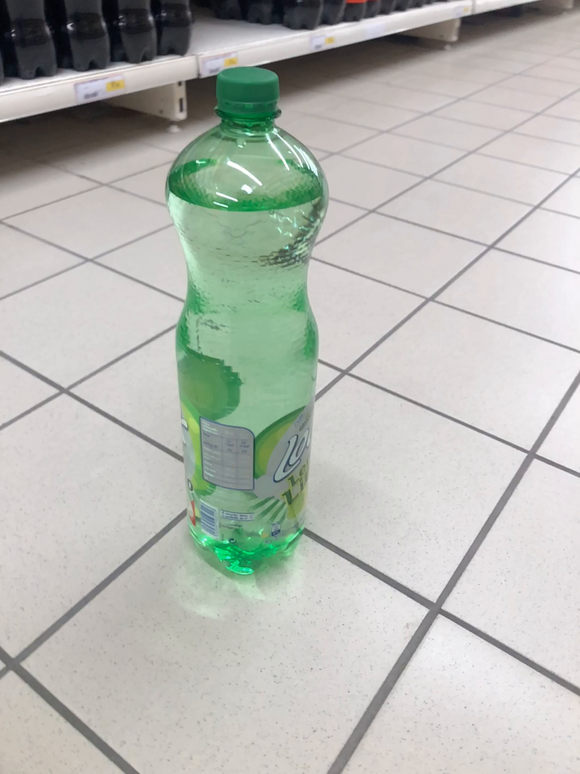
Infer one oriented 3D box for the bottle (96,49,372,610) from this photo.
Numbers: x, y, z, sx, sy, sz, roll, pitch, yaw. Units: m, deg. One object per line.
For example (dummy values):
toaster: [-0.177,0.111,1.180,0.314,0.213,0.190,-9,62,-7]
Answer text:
bottle: [-0.025,-0.015,0.388,0.100,0.318,0.101,2,36,-1]
